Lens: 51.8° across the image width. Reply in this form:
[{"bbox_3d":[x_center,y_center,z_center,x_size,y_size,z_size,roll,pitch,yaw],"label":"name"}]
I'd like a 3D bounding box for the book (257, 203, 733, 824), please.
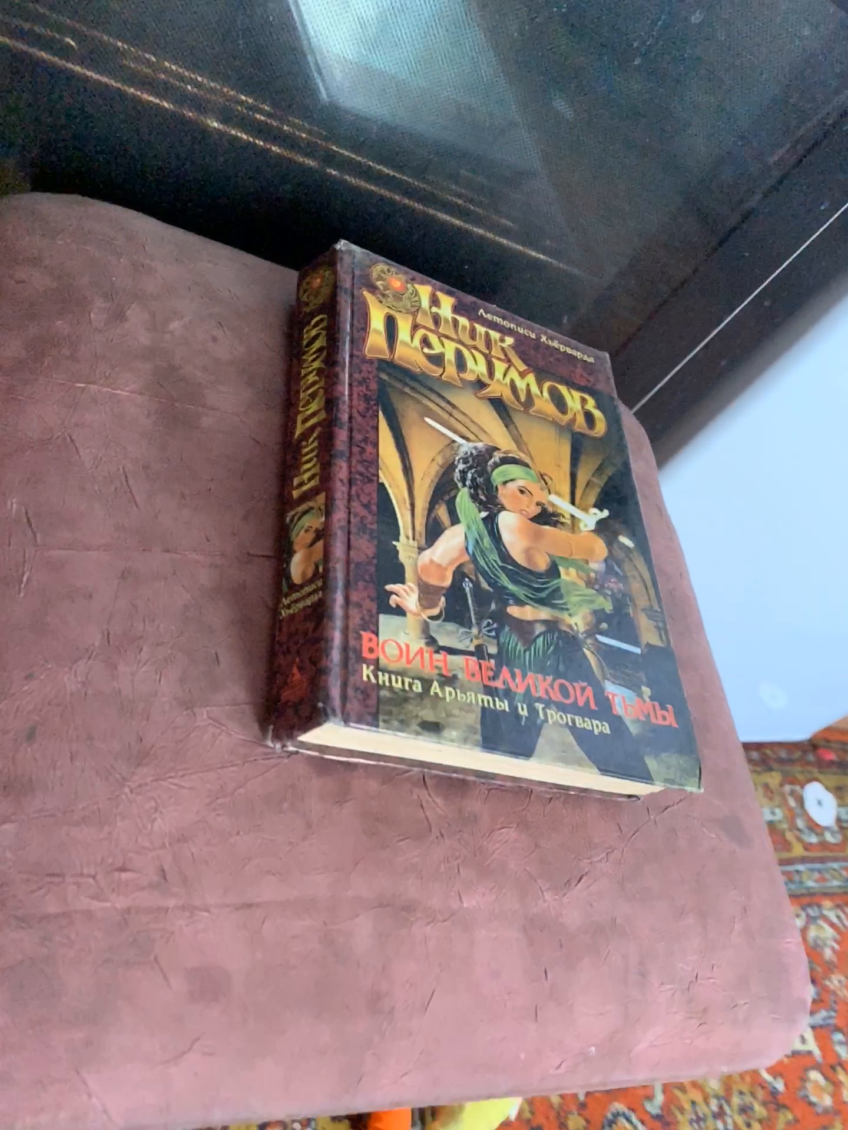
[{"bbox_3d":[0.021,-0.024,0.311,0.140,0.037,0.206,17,50,-25],"label":"book"}]
